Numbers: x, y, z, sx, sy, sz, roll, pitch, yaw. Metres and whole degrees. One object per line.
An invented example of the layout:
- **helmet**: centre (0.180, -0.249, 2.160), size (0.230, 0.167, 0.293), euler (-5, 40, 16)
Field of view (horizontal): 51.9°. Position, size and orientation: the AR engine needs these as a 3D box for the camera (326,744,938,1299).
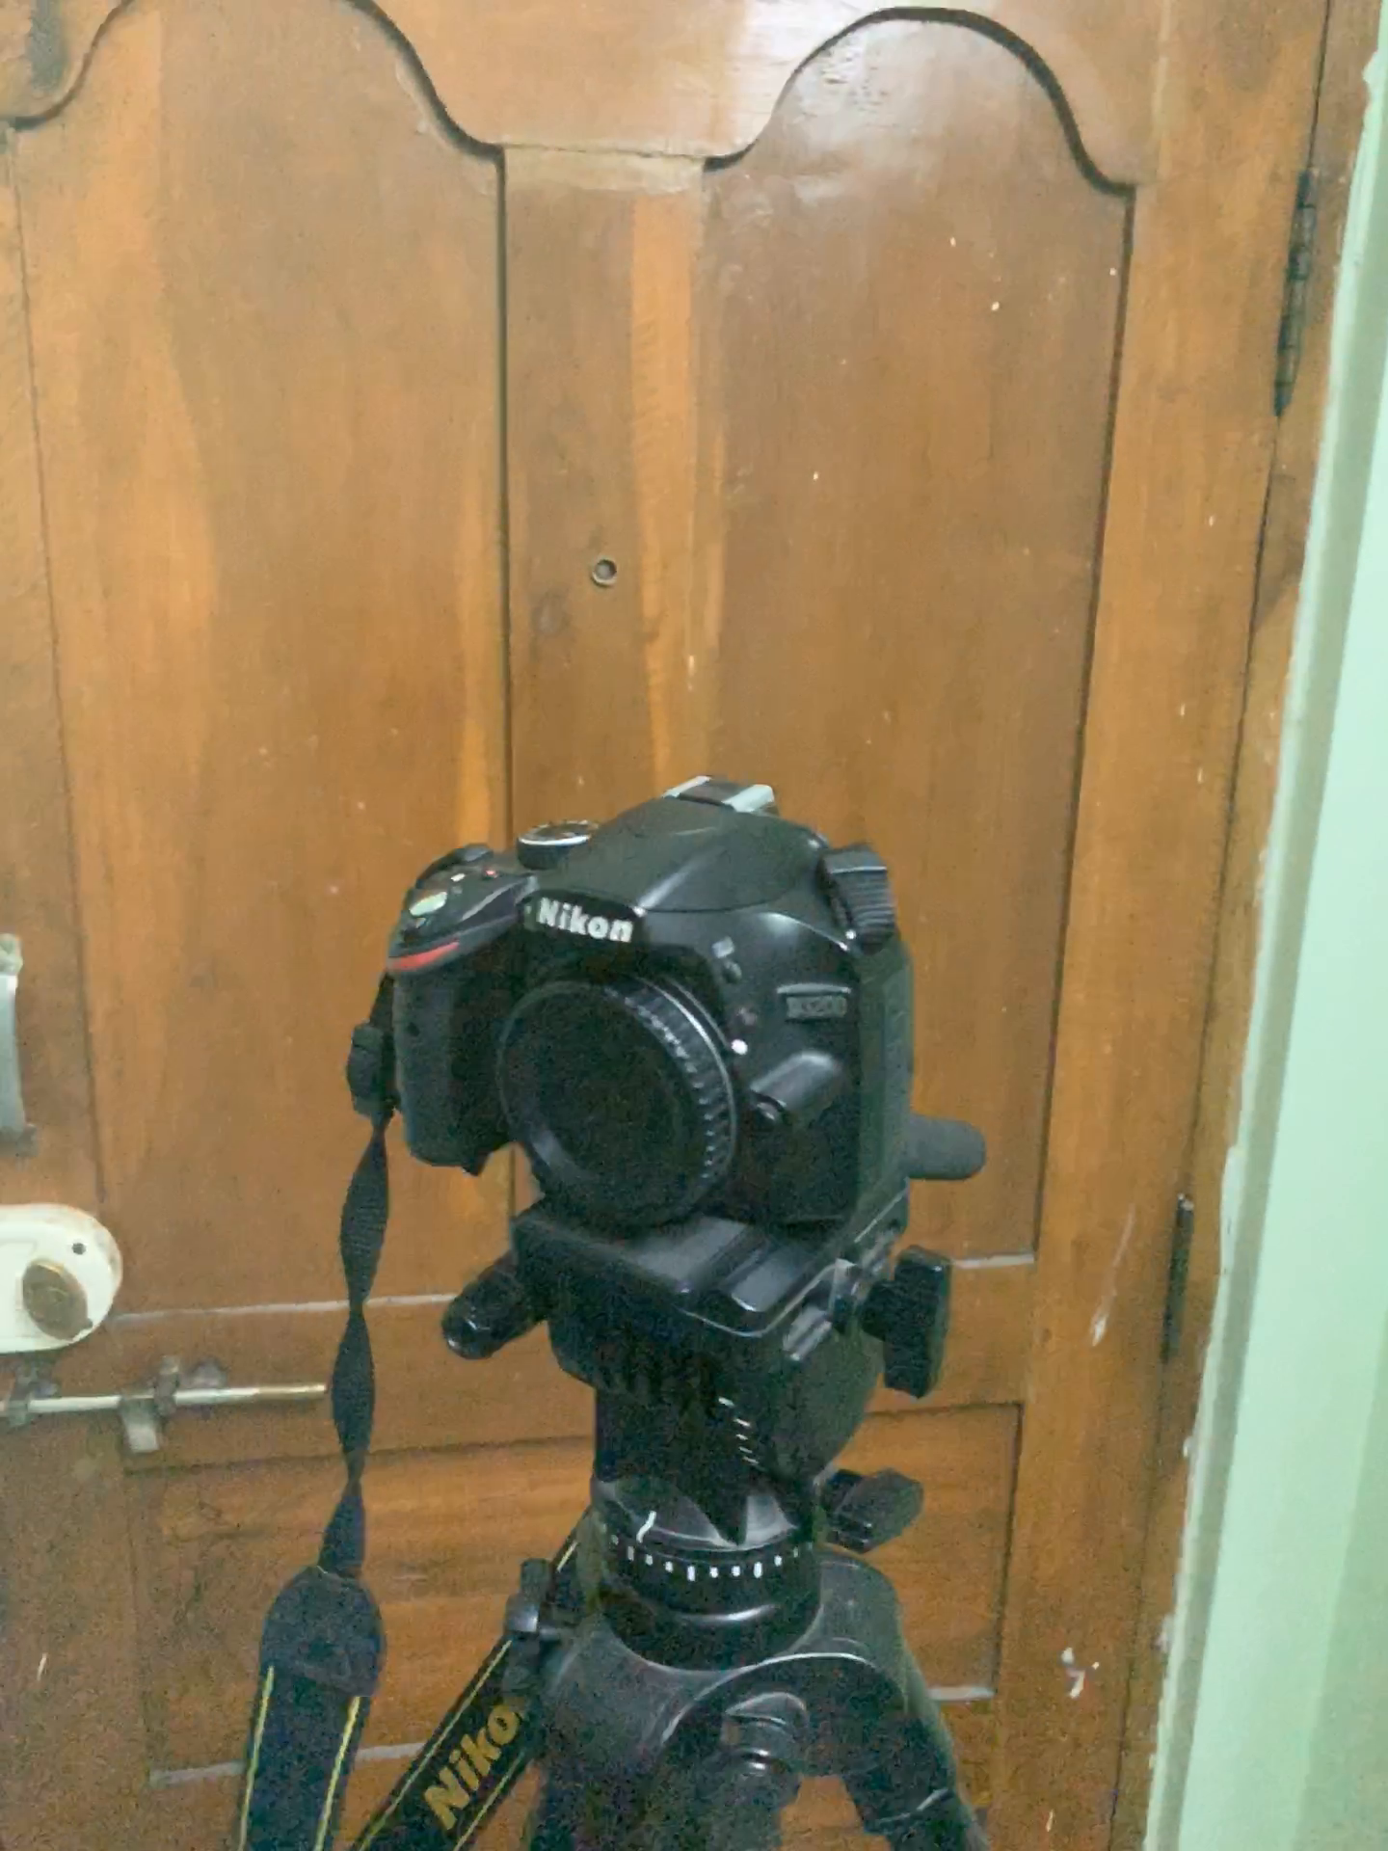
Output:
- **camera**: centre (-0.015, 0.013, 0.351), size (0.118, 0.096, 0.086), euler (11, 17, 31)
